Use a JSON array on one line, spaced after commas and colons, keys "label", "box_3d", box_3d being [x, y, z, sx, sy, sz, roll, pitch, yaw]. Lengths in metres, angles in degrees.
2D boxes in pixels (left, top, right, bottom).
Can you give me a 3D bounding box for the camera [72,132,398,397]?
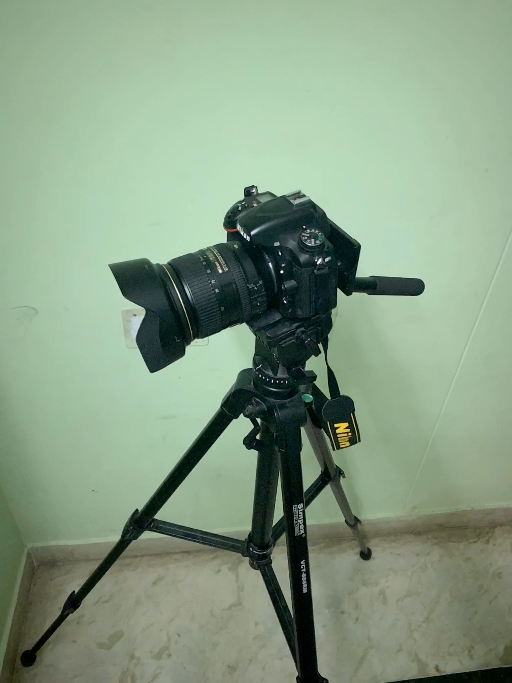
[{"label": "camera", "box_3d": [-0.017, -0.093, 0.540, 0.267, 0.127, 0.160, -26, 46, -20]}]
